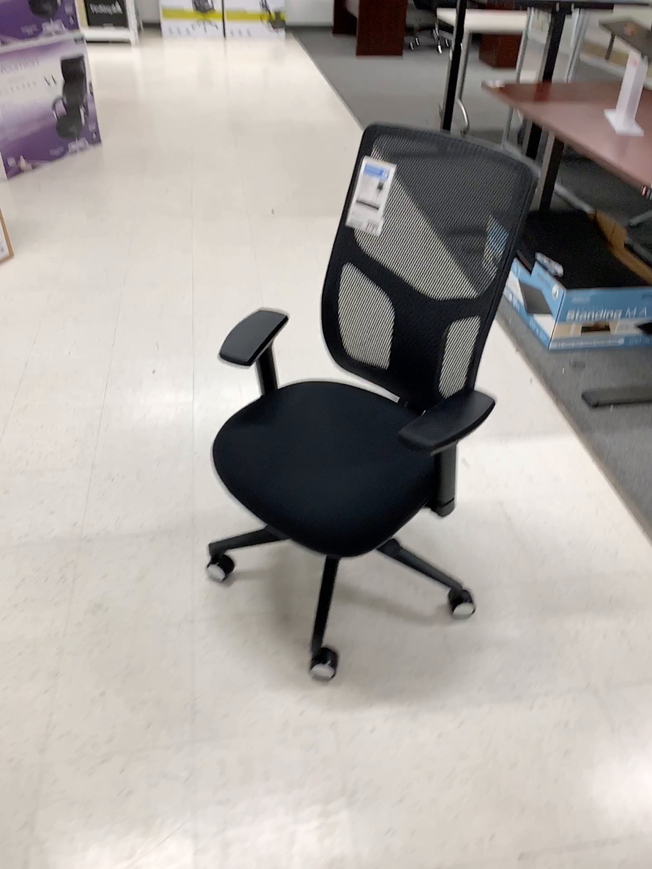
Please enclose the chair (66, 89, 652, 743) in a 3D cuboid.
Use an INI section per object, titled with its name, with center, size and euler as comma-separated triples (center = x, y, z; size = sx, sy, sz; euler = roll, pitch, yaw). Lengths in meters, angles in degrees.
[chair]
center = 0.067, -0.080, 1.429
size = 0.702, 0.995, 0.732
euler = 29, 46, 29
